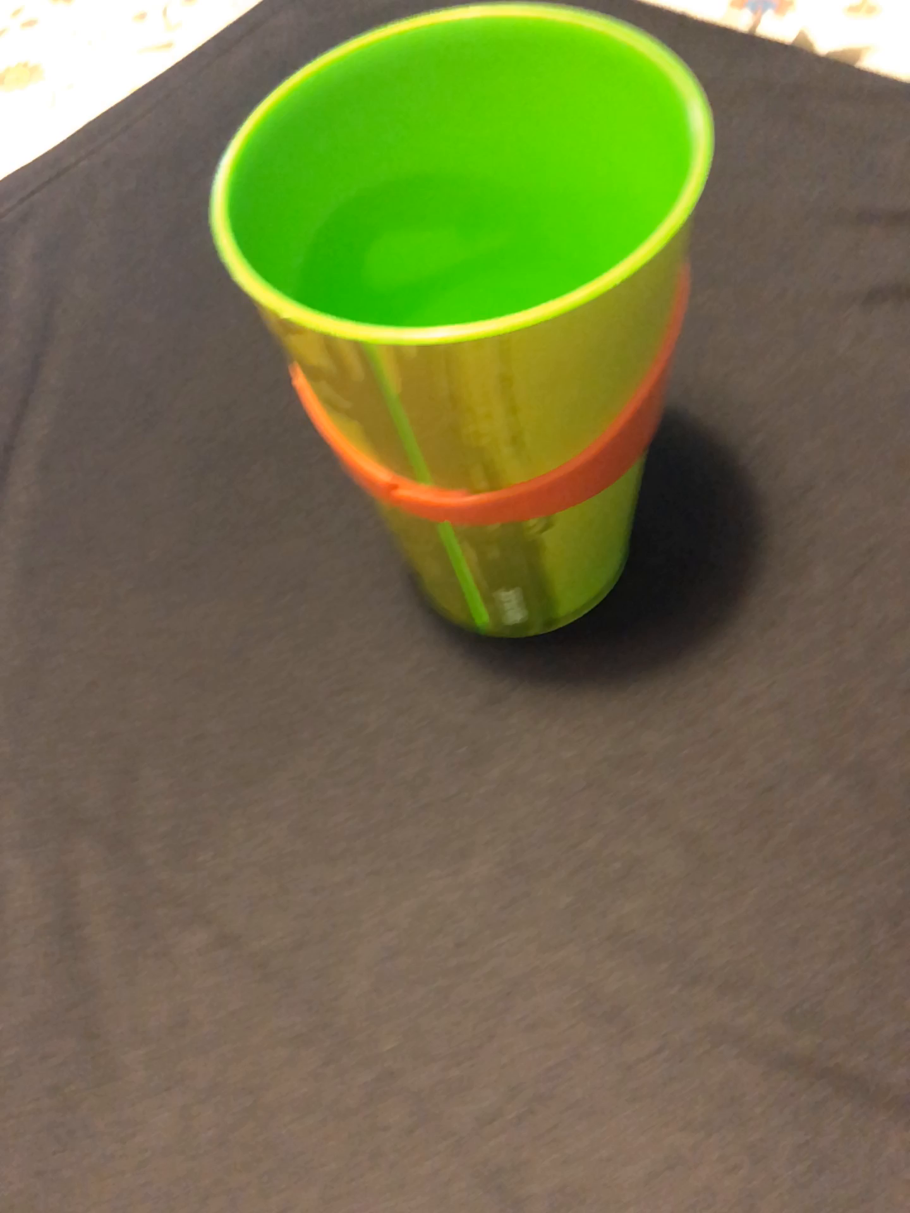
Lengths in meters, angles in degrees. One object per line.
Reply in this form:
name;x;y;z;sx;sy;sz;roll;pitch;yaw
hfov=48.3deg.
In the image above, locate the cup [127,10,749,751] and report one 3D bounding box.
cup;0.011;-0.048;0.256;0.100;0.139;0.110;7;62;13
